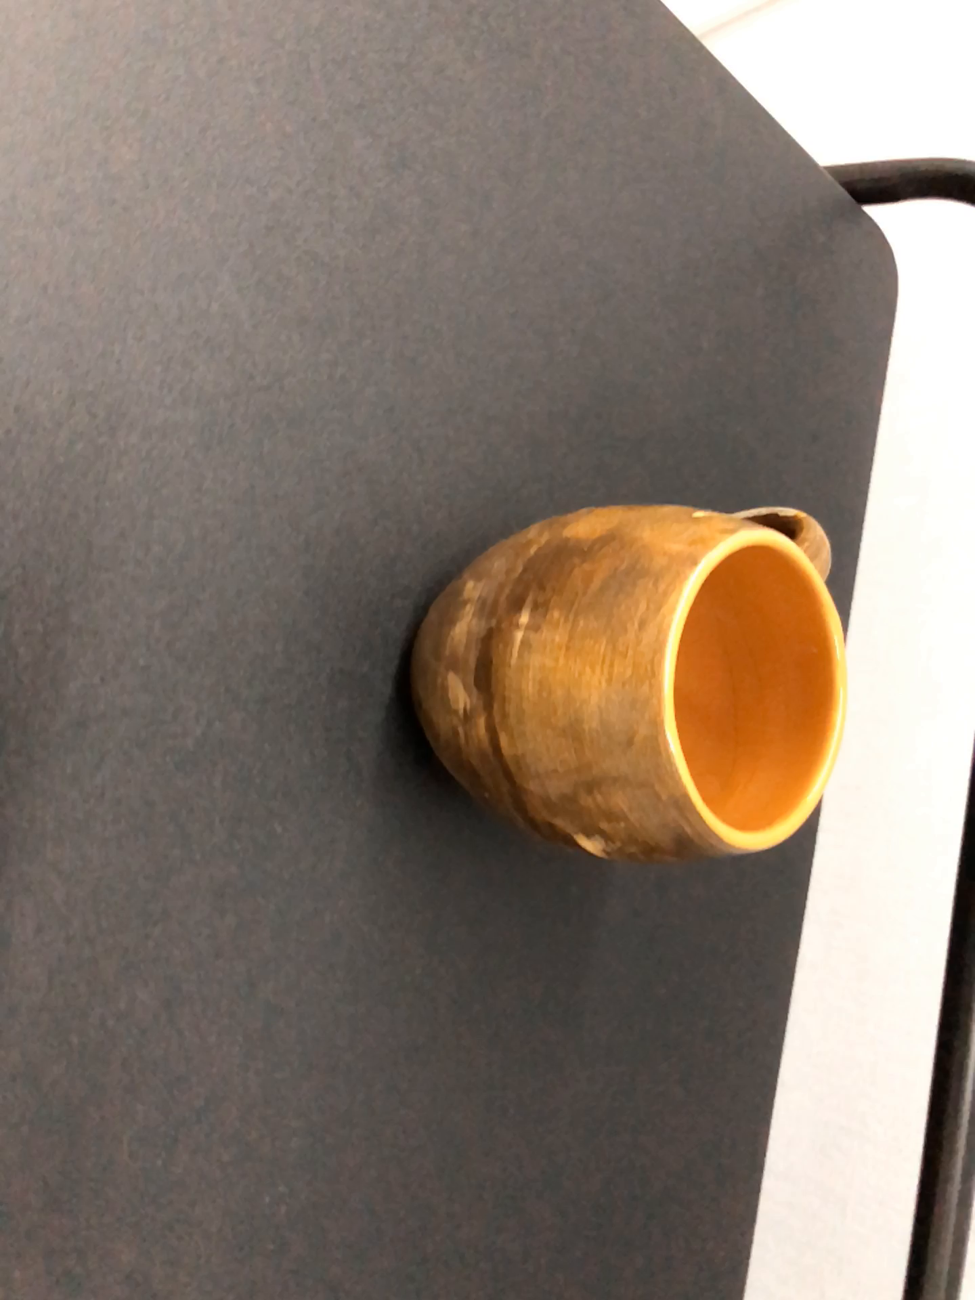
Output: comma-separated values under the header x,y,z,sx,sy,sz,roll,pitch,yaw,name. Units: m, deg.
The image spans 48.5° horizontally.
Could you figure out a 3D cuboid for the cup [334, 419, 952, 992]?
x,y,z,sx,sy,sz,roll,pitch,yaw,name
0.049,0.006,0.303,0.132,0.092,0.092,-33,112,-37,cup
